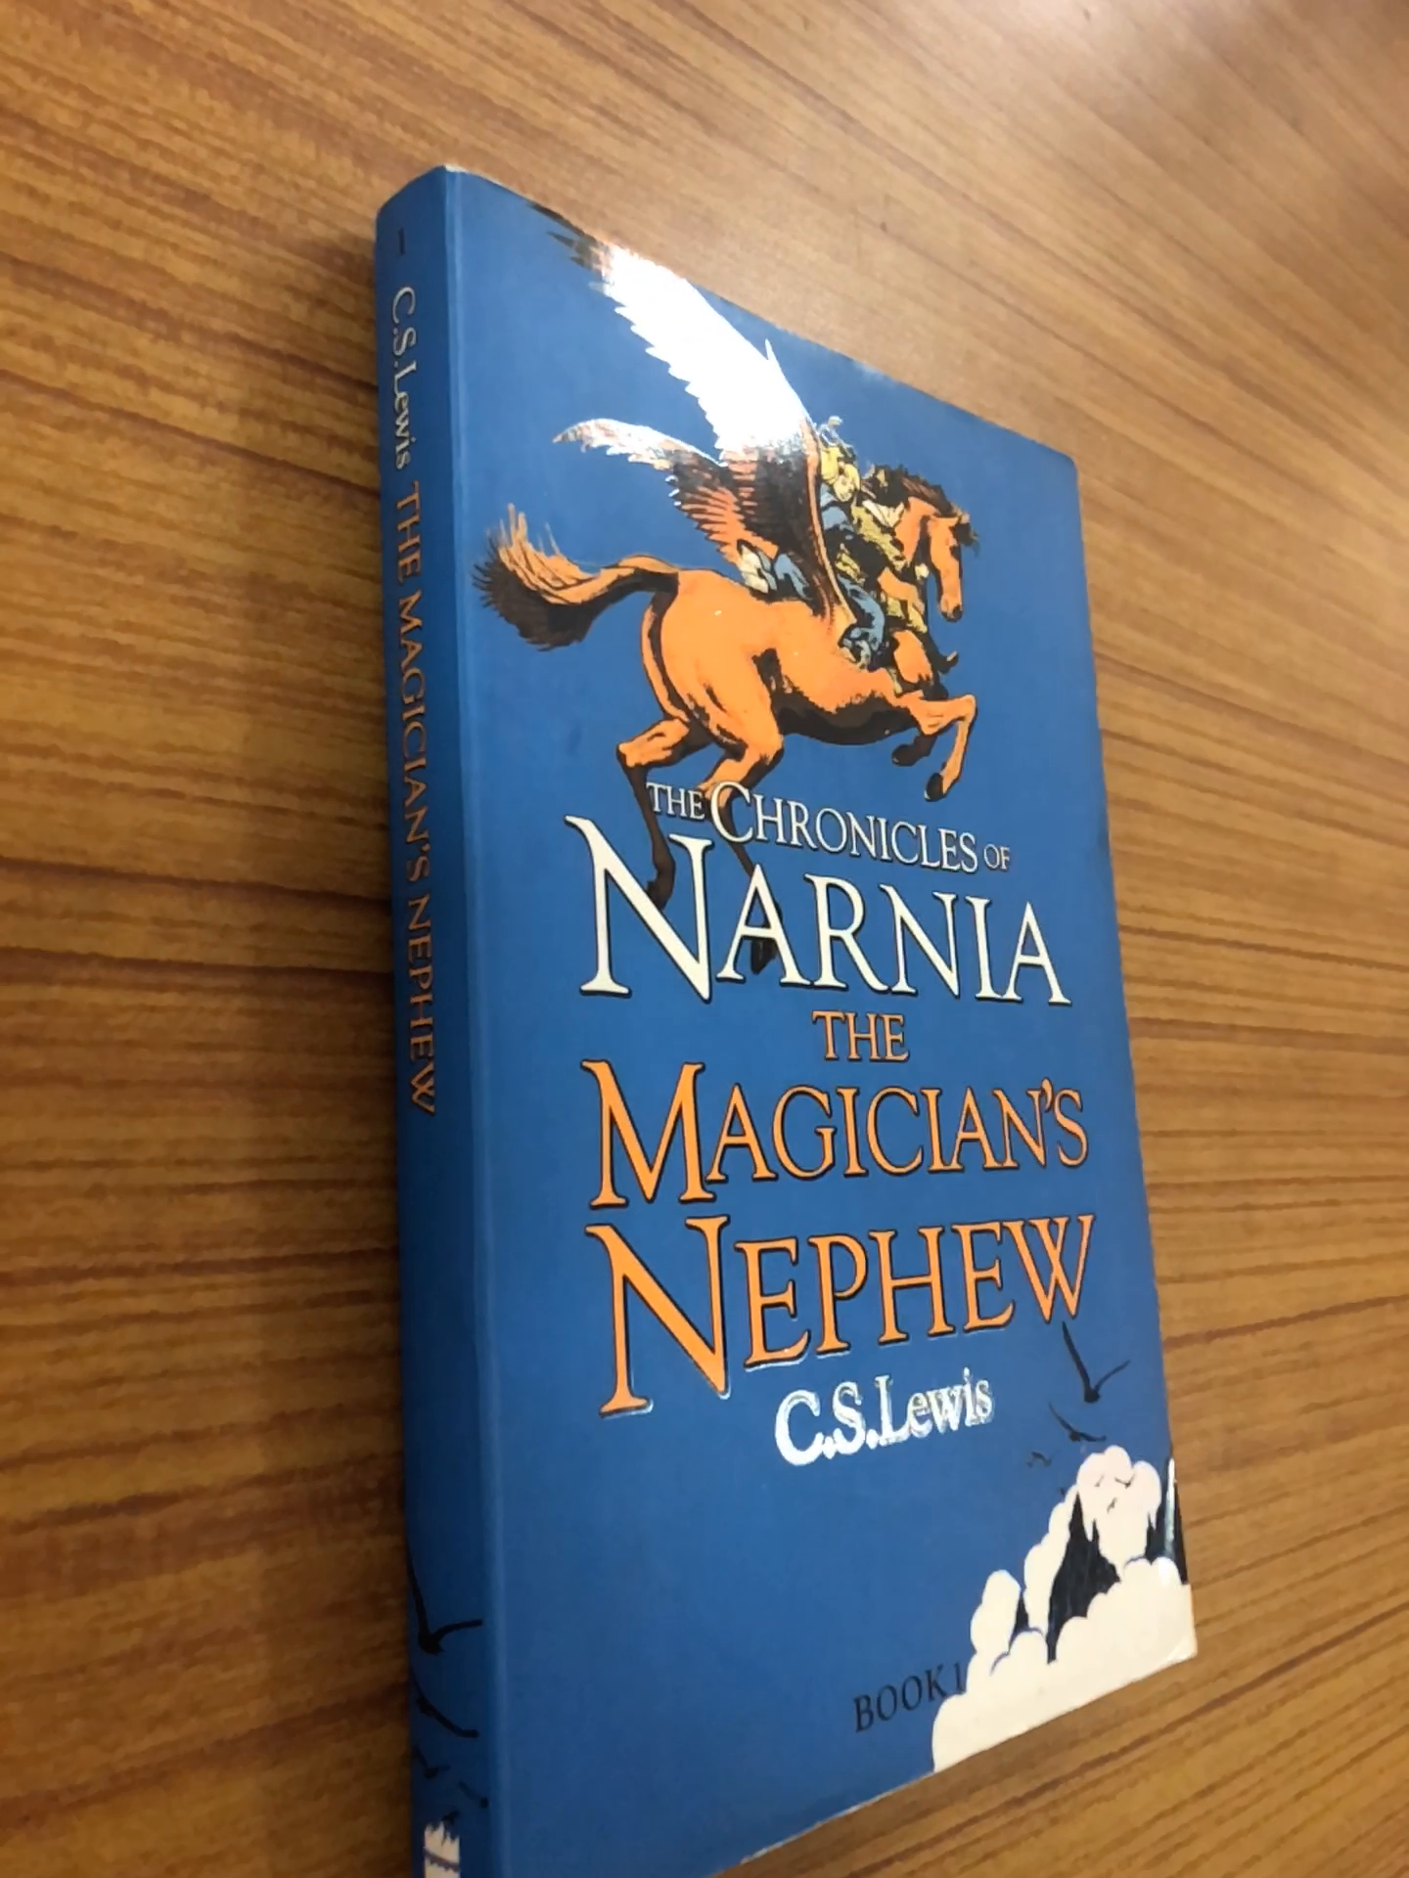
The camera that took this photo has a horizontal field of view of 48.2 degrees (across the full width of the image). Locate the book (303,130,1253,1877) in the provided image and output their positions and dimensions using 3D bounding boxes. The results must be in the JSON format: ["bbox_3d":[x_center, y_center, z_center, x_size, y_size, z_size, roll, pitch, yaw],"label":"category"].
[{"bbox_3d":[0.017,0.012,0.218,0.141,0.030,0.190,5,77,-44],"label":"book"}]
